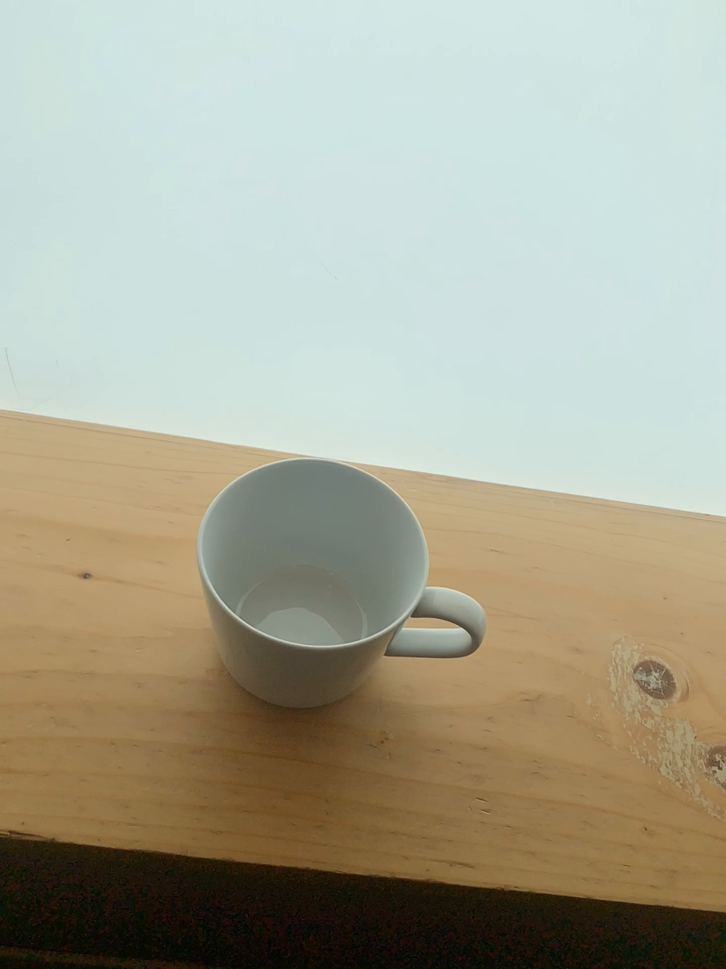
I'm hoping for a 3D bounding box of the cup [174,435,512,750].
[{"bbox_3d":[-0.008,0.051,0.353,0.130,0.080,0.090,14,51,1],"label":"cup"}]
